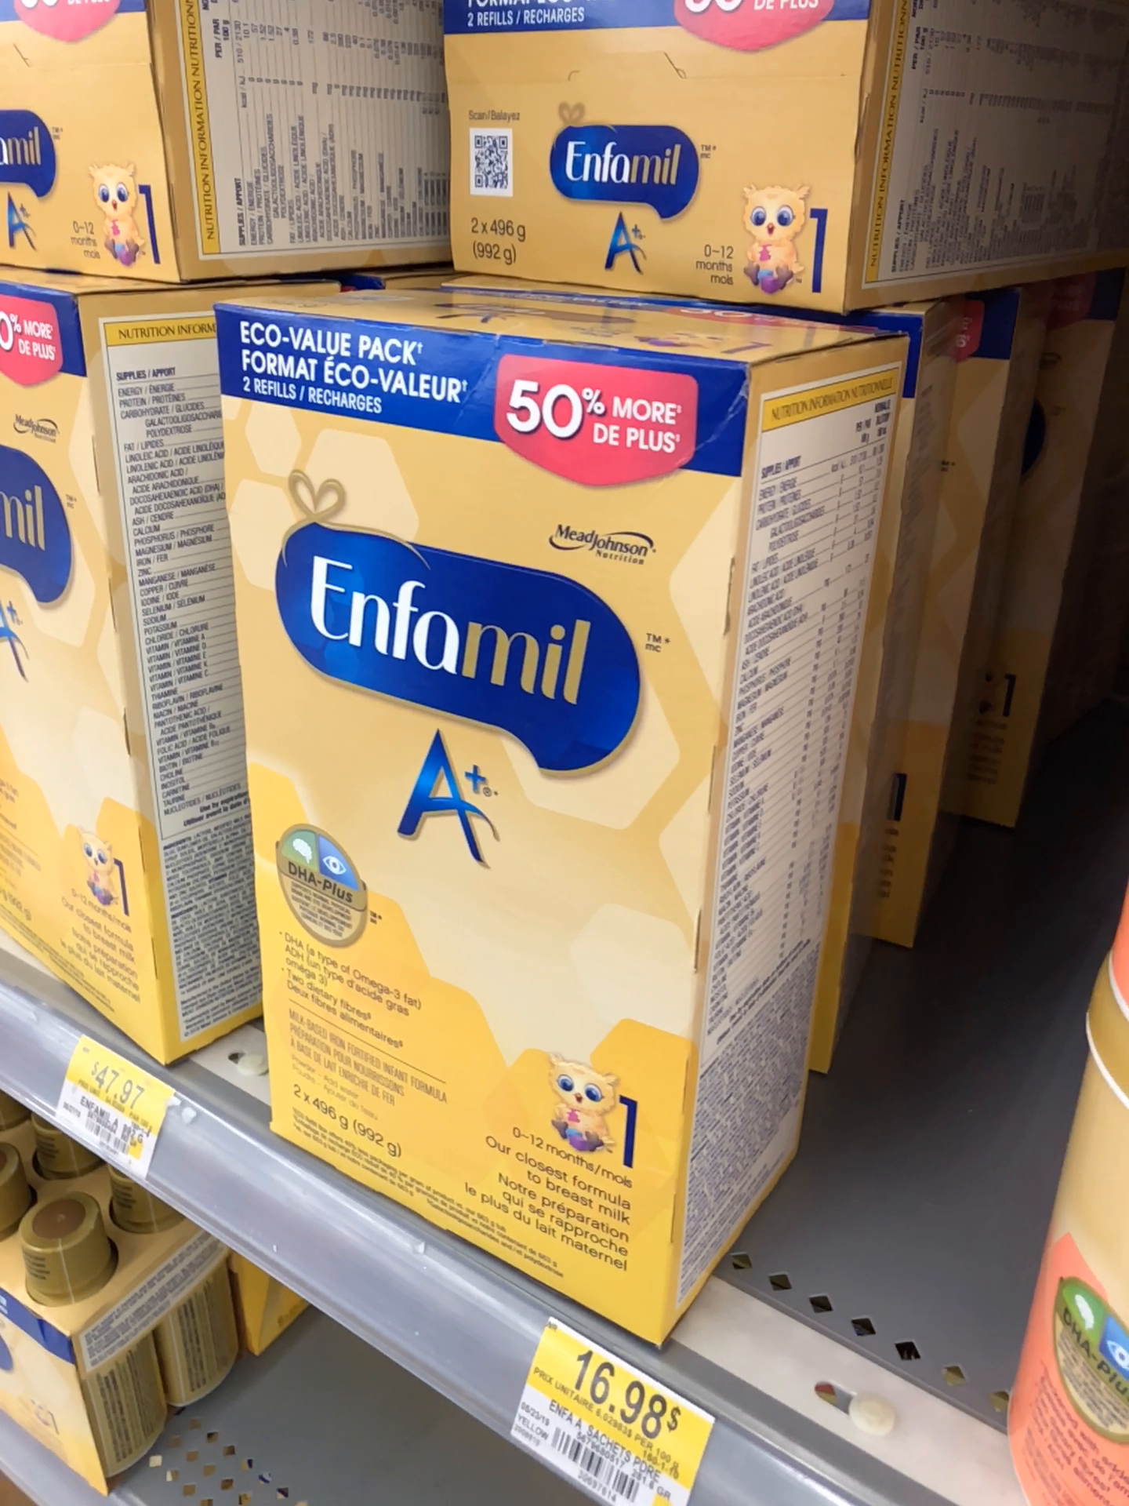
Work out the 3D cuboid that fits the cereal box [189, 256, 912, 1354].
[{"bbox_3d":[-0.009,0.007,0.344,0.150,0.258,0.080,16,28,29],"label":"cereal box"}]
